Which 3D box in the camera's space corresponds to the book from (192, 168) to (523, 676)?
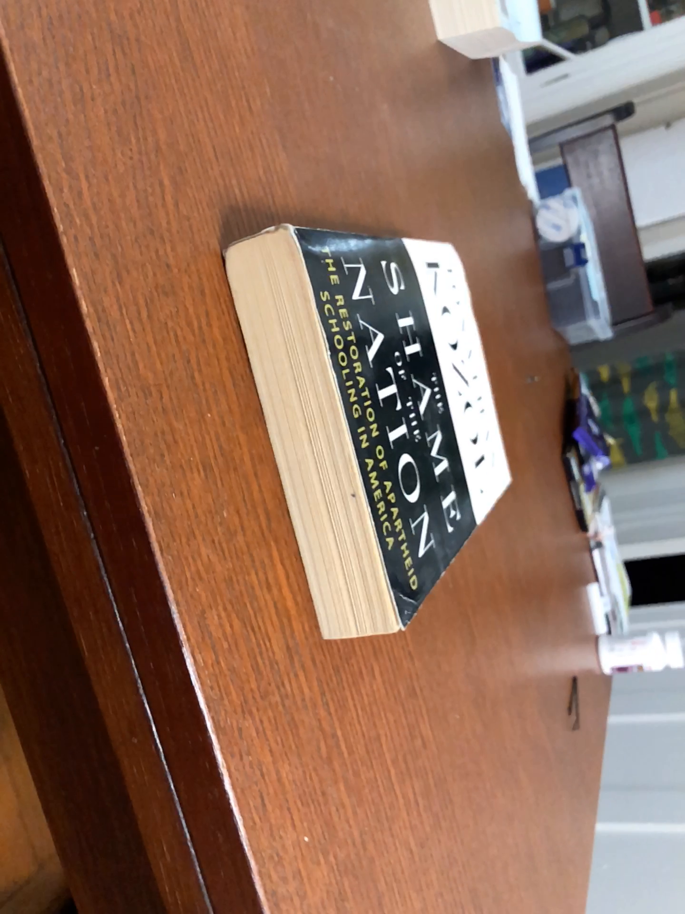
[{"bbox_3d":[0.030,-0.029,0.346,0.231,0.030,0.160,-28,105,-64],"label":"book"}]
